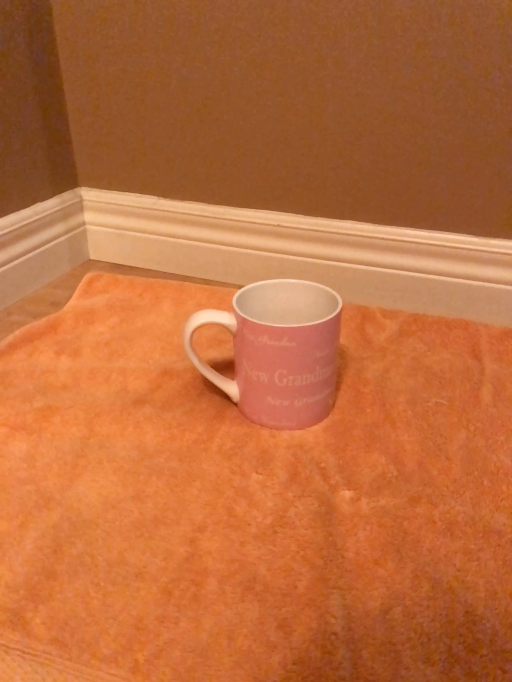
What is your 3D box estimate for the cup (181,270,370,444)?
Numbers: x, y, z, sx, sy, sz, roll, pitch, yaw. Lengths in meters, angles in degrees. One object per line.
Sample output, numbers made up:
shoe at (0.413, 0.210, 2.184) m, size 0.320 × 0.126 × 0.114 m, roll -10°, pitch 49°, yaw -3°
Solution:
cup at (0.013, 0.011, 0.493) m, size 0.140 × 0.109 × 0.111 m, roll 0°, pitch 29°, yaw -1°
